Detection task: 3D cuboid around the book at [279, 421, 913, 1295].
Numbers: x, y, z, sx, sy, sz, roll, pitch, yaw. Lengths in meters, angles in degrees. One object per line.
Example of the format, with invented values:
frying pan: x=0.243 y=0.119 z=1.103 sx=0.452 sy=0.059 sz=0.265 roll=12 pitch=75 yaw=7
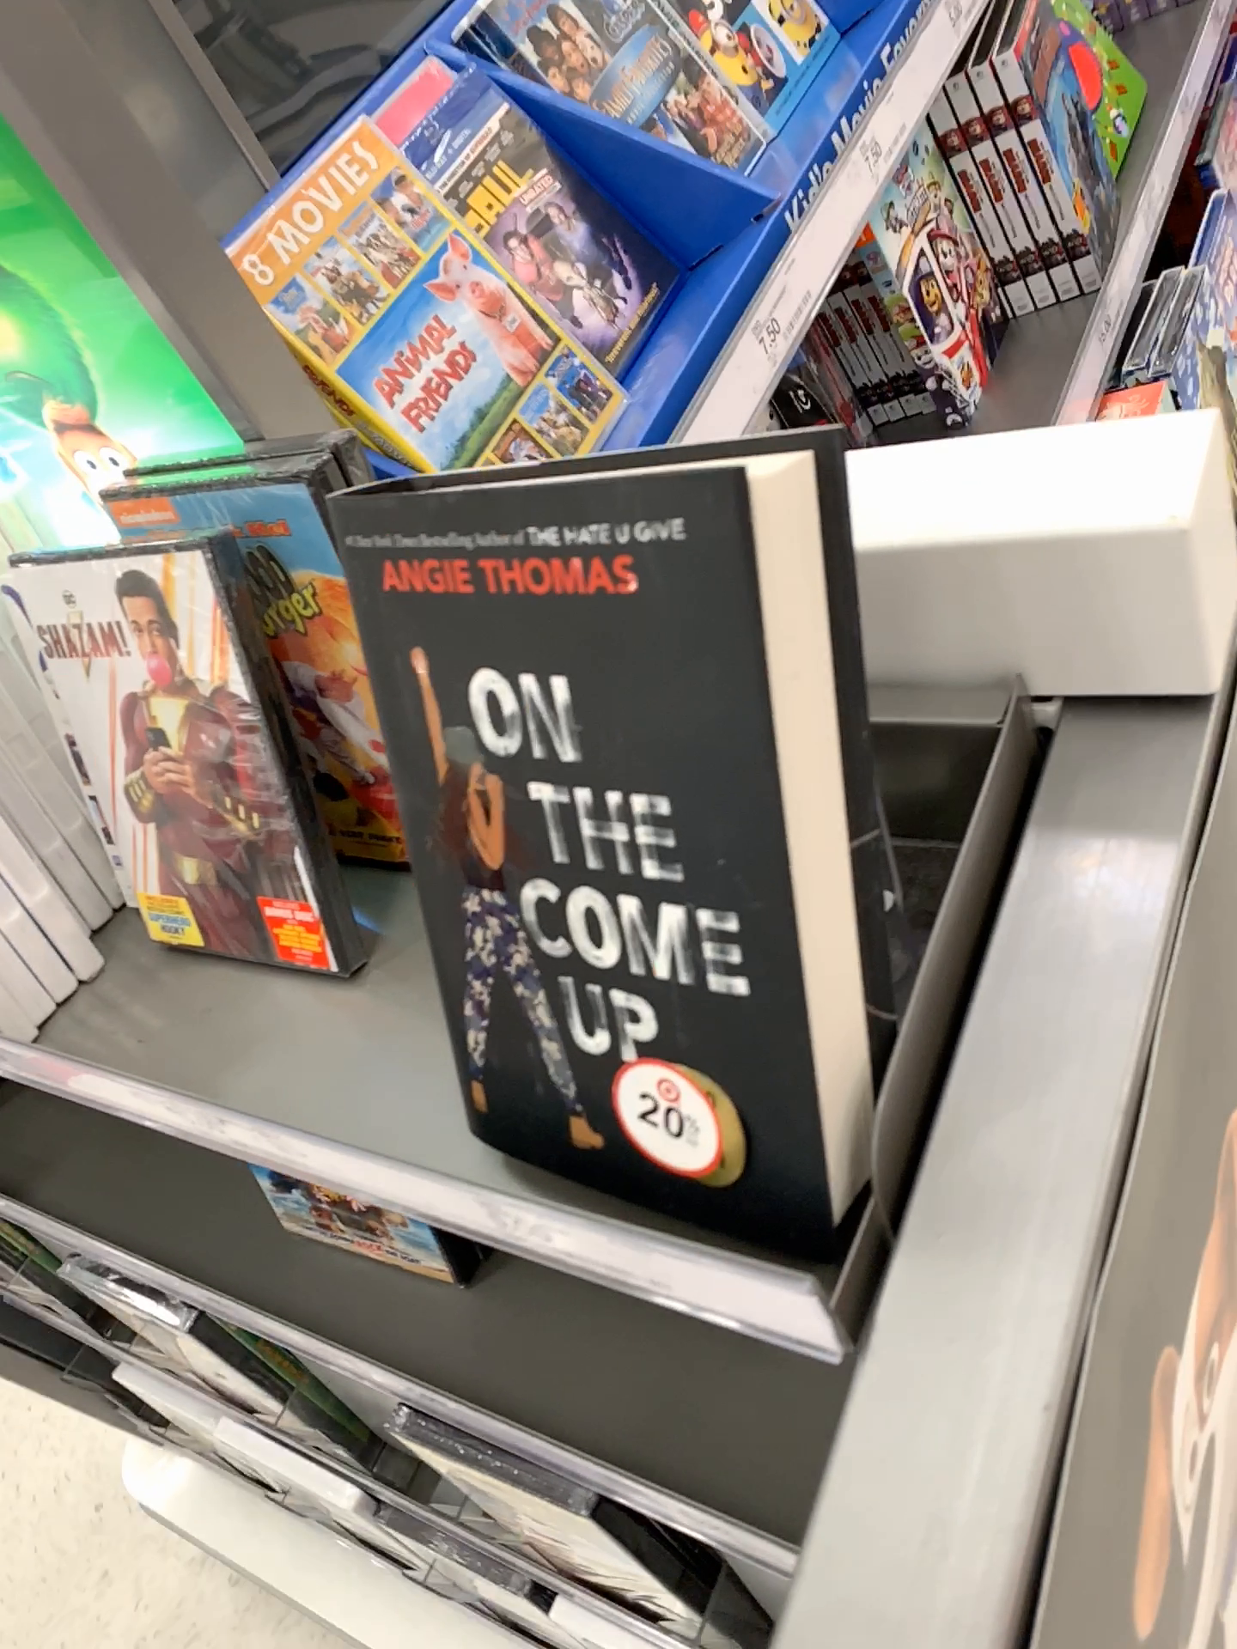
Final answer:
book: x=-0.003 y=0.008 z=0.369 sx=0.149 sy=0.222 sz=0.056 roll=7 pitch=25 yaw=36
